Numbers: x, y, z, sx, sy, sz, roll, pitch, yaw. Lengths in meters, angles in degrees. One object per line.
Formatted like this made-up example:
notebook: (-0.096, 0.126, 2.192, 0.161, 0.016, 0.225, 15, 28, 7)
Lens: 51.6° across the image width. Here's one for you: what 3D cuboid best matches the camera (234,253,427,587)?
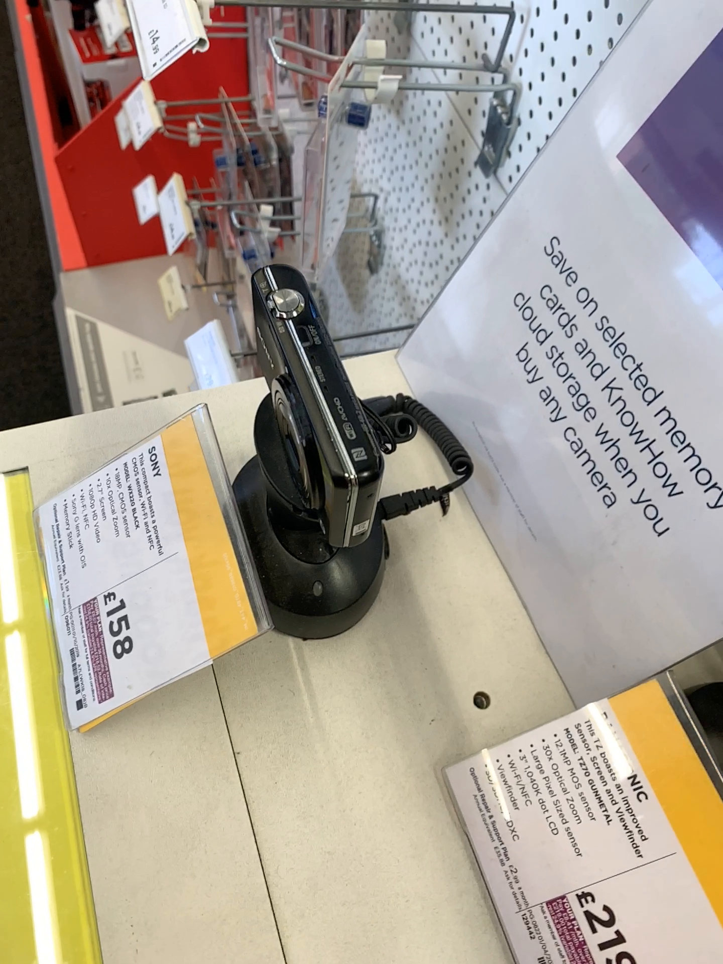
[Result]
camera: (-0.015, -0.022, 0.257, 0.030, 0.050, 0.101, -15, 63, -14)
